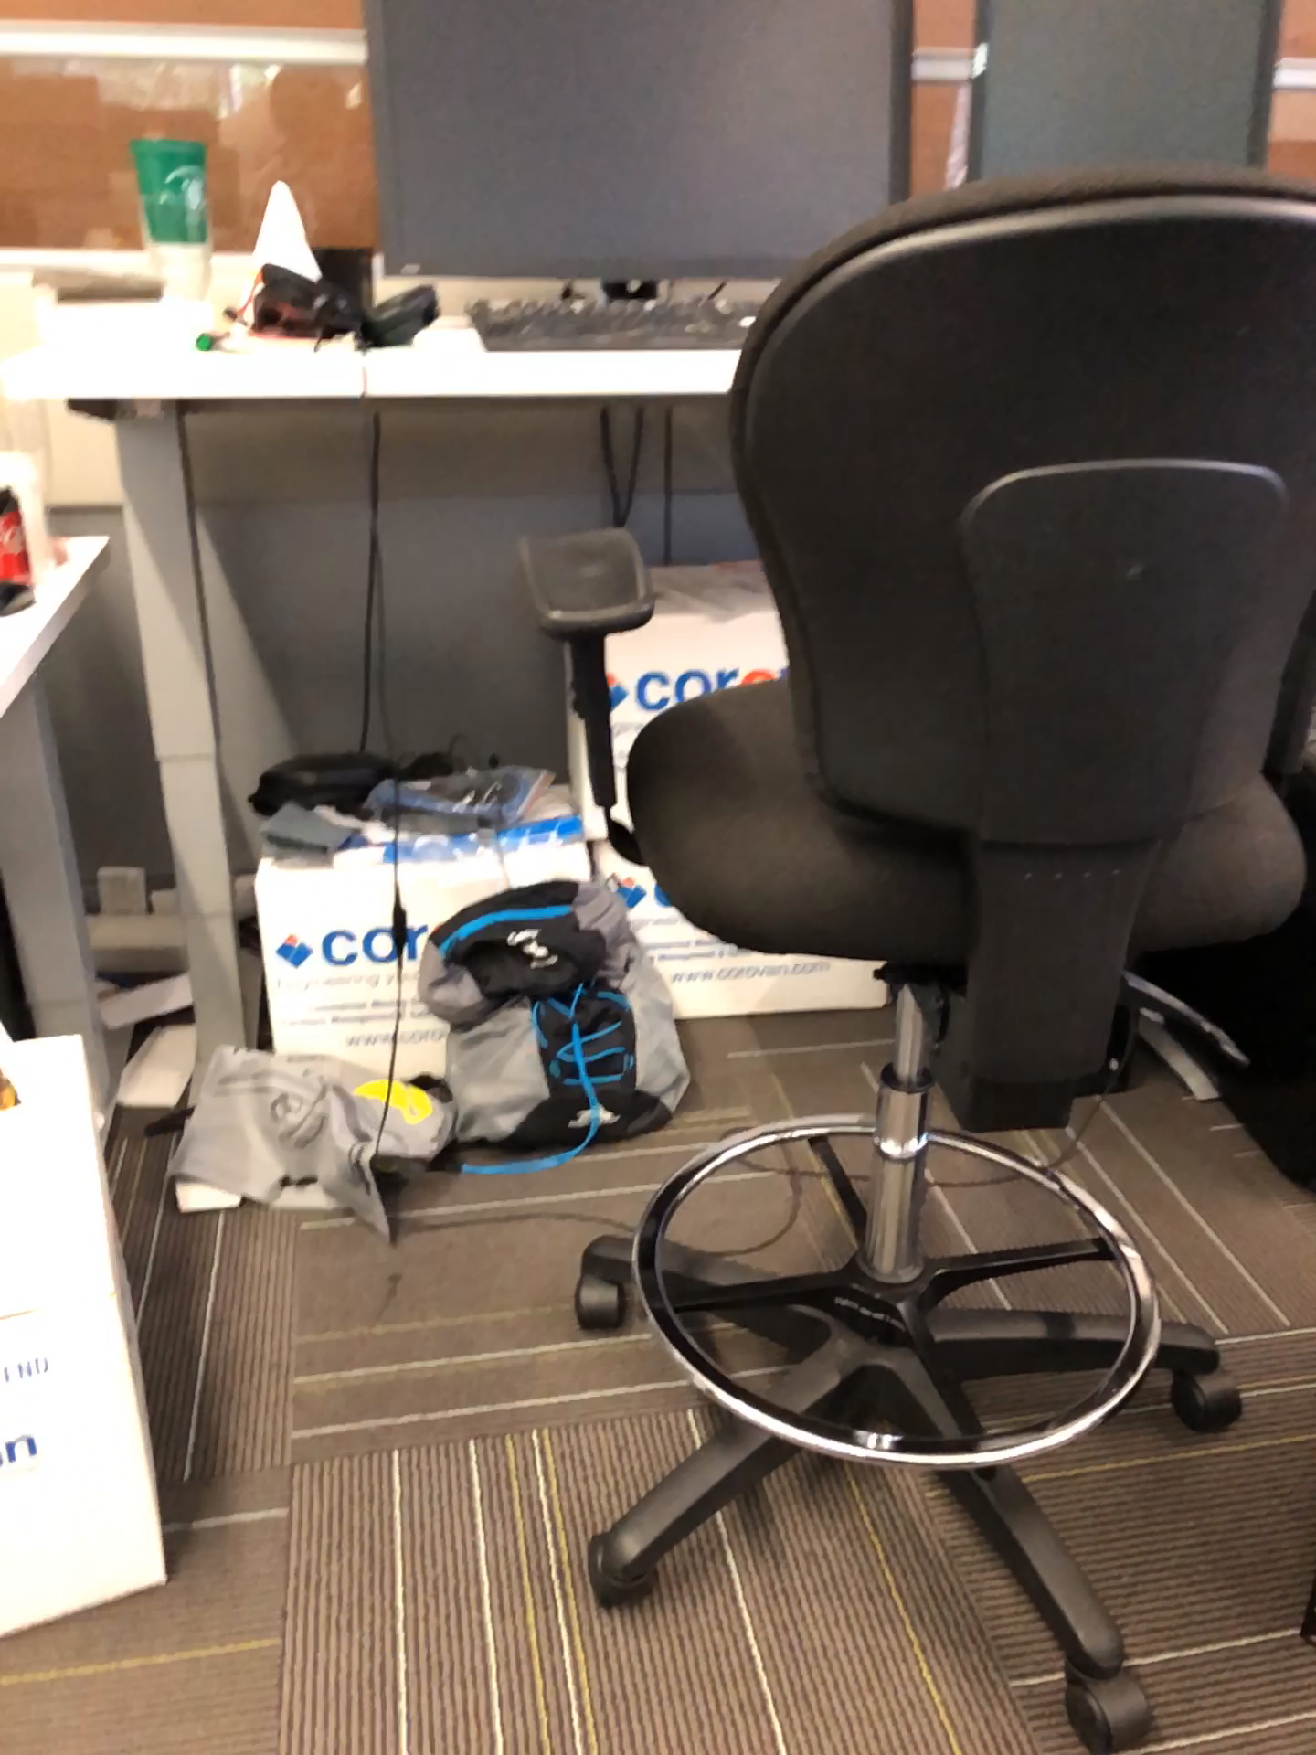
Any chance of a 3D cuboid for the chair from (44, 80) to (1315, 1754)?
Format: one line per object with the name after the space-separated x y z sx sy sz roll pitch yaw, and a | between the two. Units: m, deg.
0.120 -0.002 1.236 0.890 1.104 0.965 -5 24 -11 | chair
